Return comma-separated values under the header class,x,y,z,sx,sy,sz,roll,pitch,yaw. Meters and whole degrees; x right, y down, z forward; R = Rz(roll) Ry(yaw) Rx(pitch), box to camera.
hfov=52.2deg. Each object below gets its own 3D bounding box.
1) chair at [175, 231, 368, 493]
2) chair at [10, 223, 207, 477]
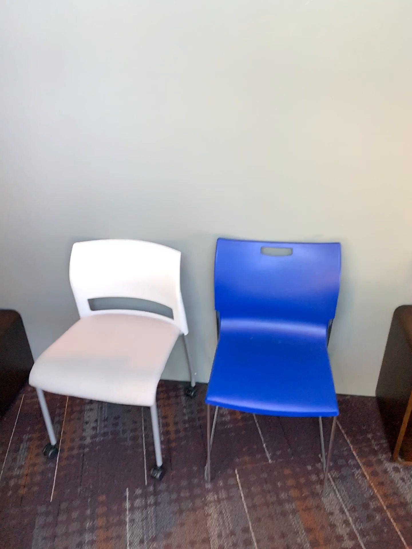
class,x,y,z,sx,sy,sz,roll,pitch,yaw
chair,0.244,0.308,1.734,0.590,0.796,0.623,3,23,9
chair,-0.322,0.289,1.697,0.590,0.796,0.563,4,28,-2
